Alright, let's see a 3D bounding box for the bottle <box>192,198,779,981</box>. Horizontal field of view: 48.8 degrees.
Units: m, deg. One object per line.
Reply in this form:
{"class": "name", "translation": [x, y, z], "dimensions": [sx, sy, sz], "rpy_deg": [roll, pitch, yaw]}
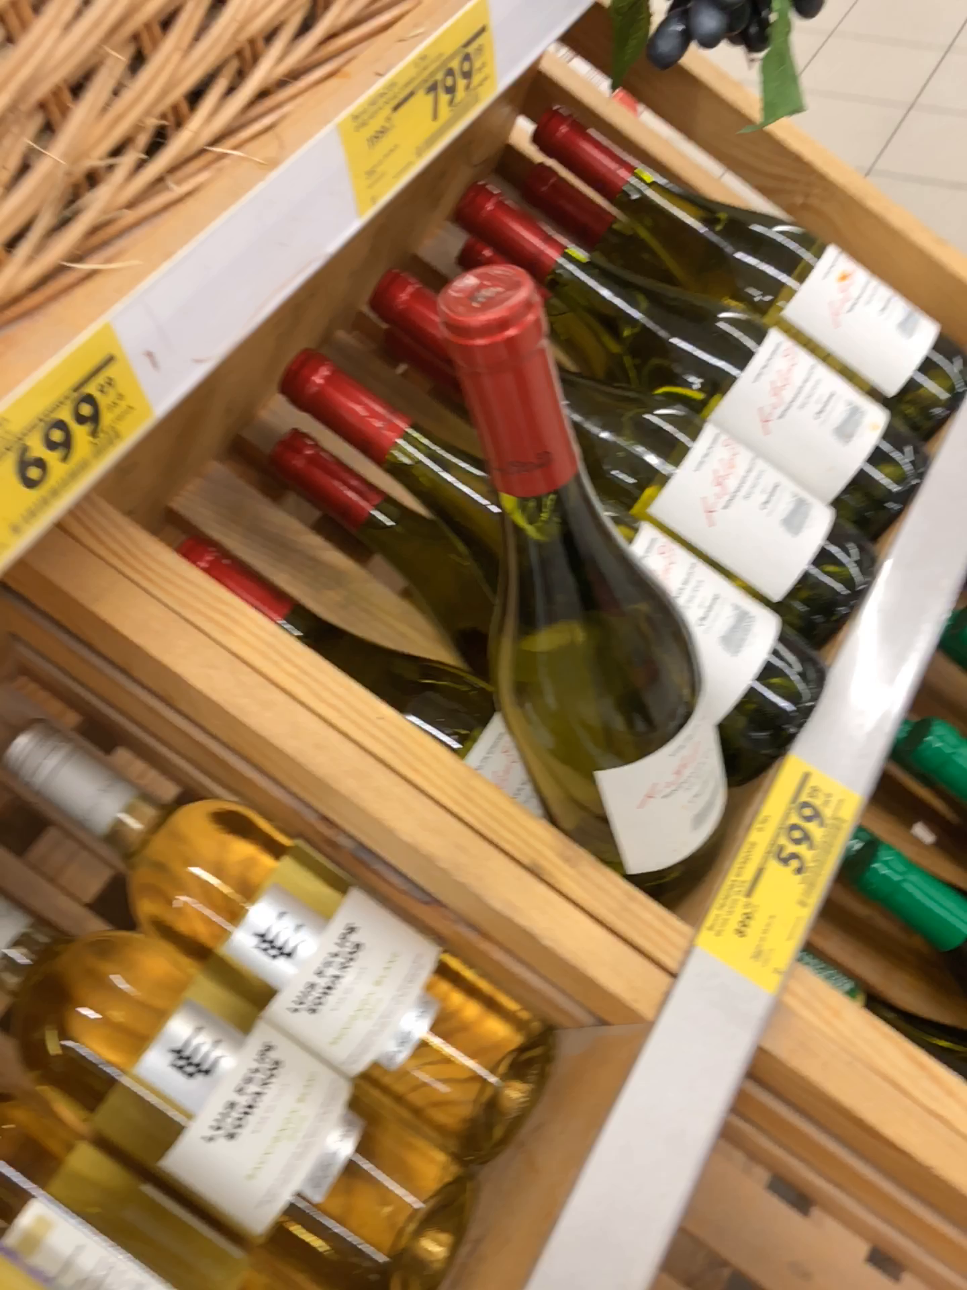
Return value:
{"class": "bottle", "translation": [0.026, -0.003, 0.399], "dimensions": [0.100, 0.289, 0.100], "rpy_deg": [-12, 44, 12]}
